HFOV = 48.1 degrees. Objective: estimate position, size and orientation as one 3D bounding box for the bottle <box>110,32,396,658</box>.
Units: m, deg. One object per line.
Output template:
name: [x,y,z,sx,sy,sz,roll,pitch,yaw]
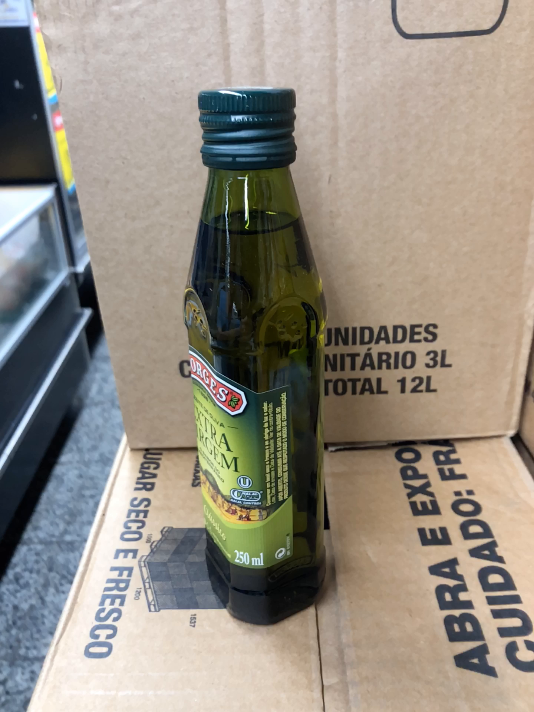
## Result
bottle: [-0.002,0.004,0.224,0.060,0.218,0.060,-2,28,1]
